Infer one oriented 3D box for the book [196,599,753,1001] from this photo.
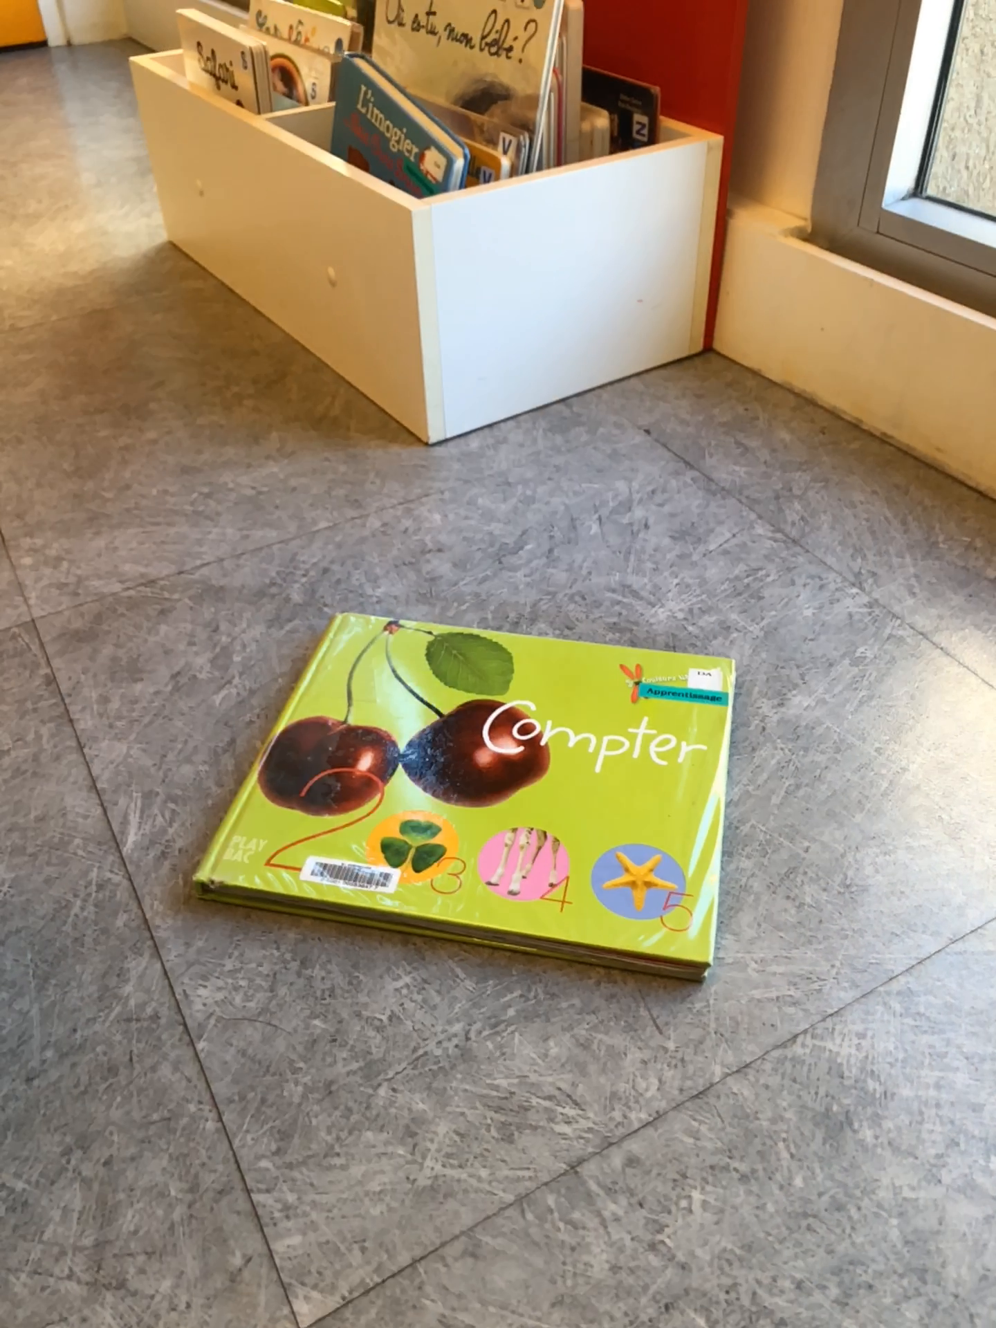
[{"bbox_3d":[0.002,0.057,0.596,0.255,0.021,0.223,7,43,10],"label":"book"}]
